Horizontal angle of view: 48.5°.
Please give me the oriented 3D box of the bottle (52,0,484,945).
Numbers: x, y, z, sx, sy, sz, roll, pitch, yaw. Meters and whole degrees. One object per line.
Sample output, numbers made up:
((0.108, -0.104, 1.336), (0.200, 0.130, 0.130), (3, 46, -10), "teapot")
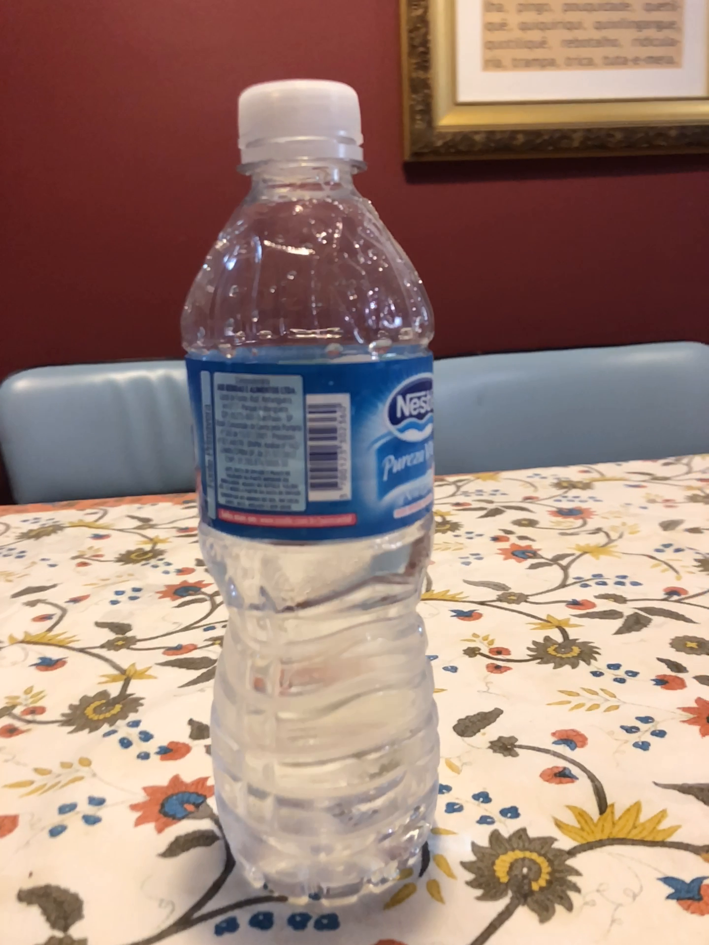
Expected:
((-0.013, 0.004, 0.193), (0.070, 0.189, 0.060), (4, 15, 28), "bottle")
